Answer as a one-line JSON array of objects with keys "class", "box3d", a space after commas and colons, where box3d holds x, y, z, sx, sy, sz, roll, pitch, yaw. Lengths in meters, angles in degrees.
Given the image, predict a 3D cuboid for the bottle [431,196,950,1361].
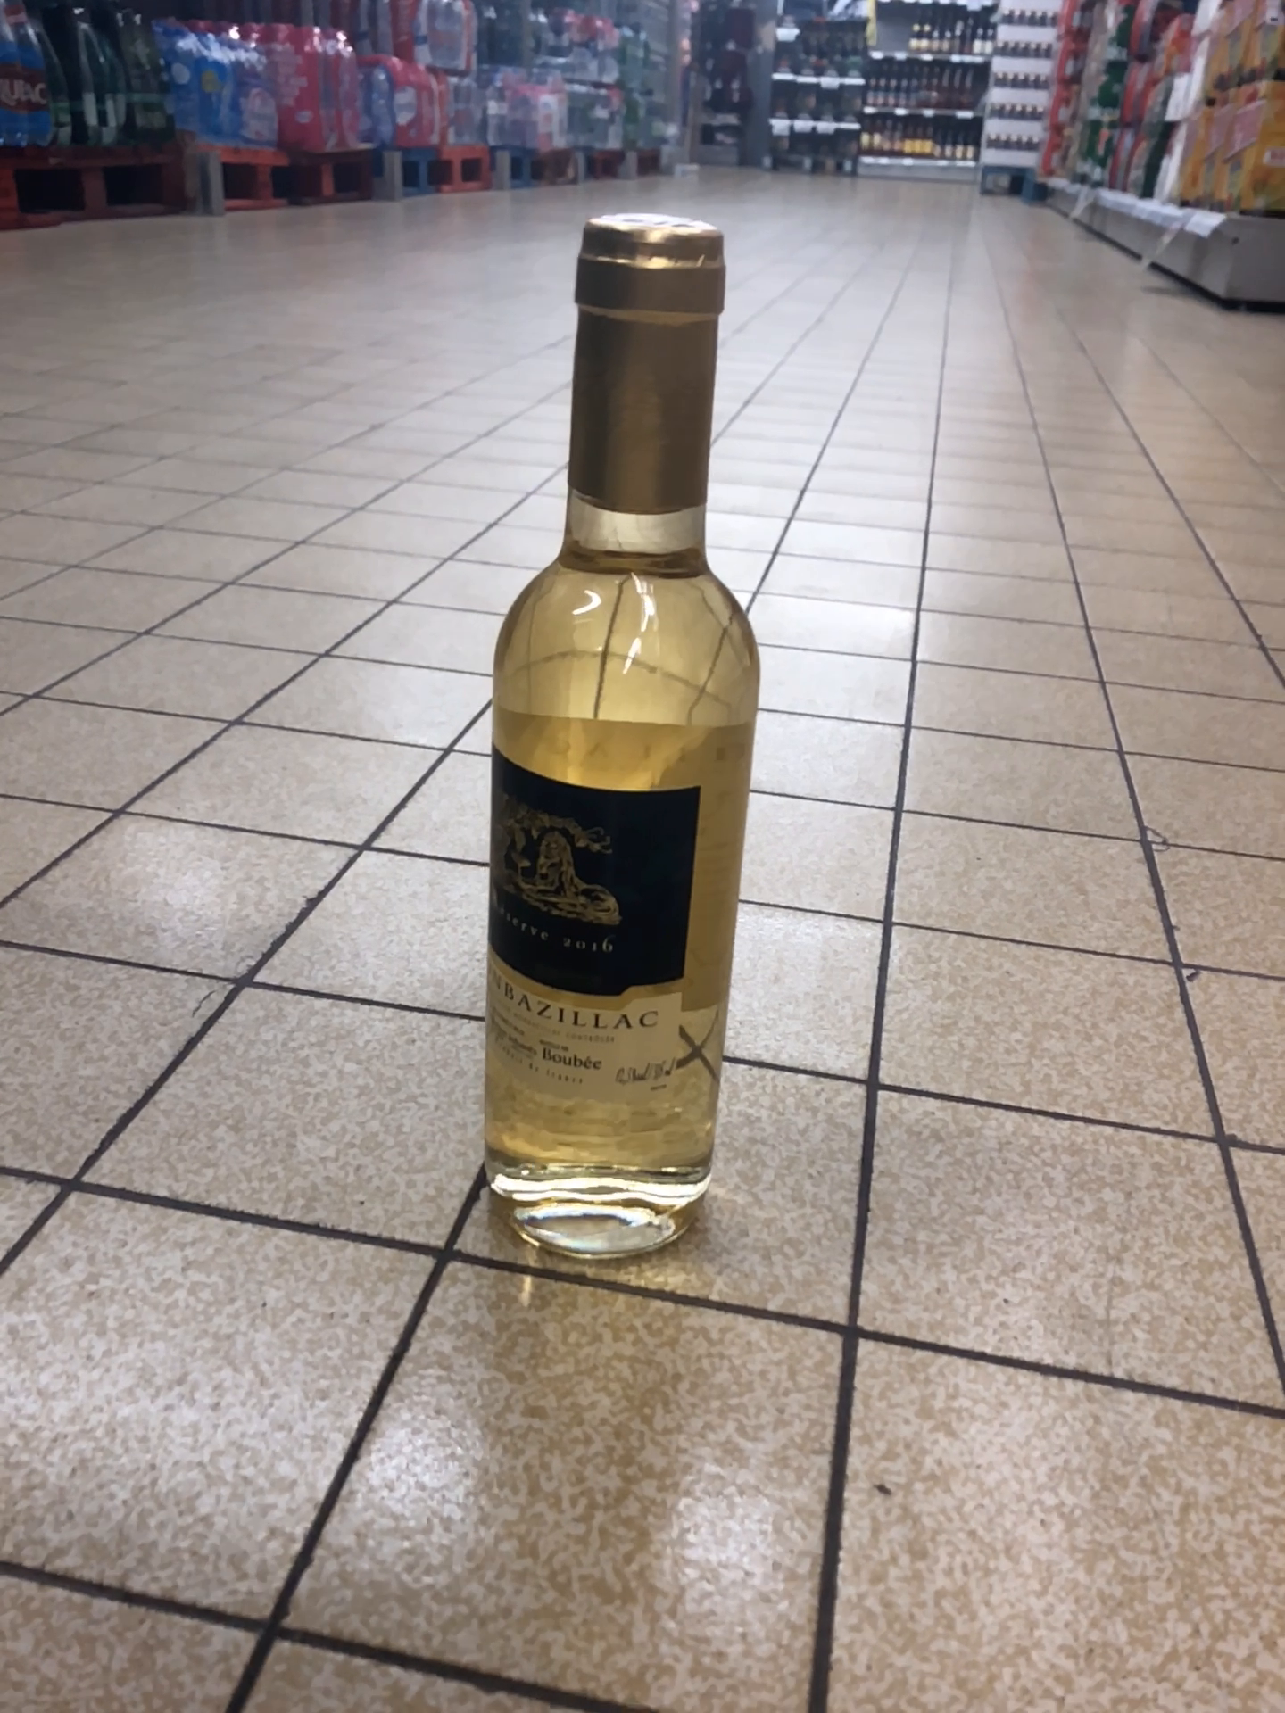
[{"class": "bottle", "box3d": [0.004, -0.014, 0.317, 0.070, 0.239, 0.070, 3, 26, -1]}]
